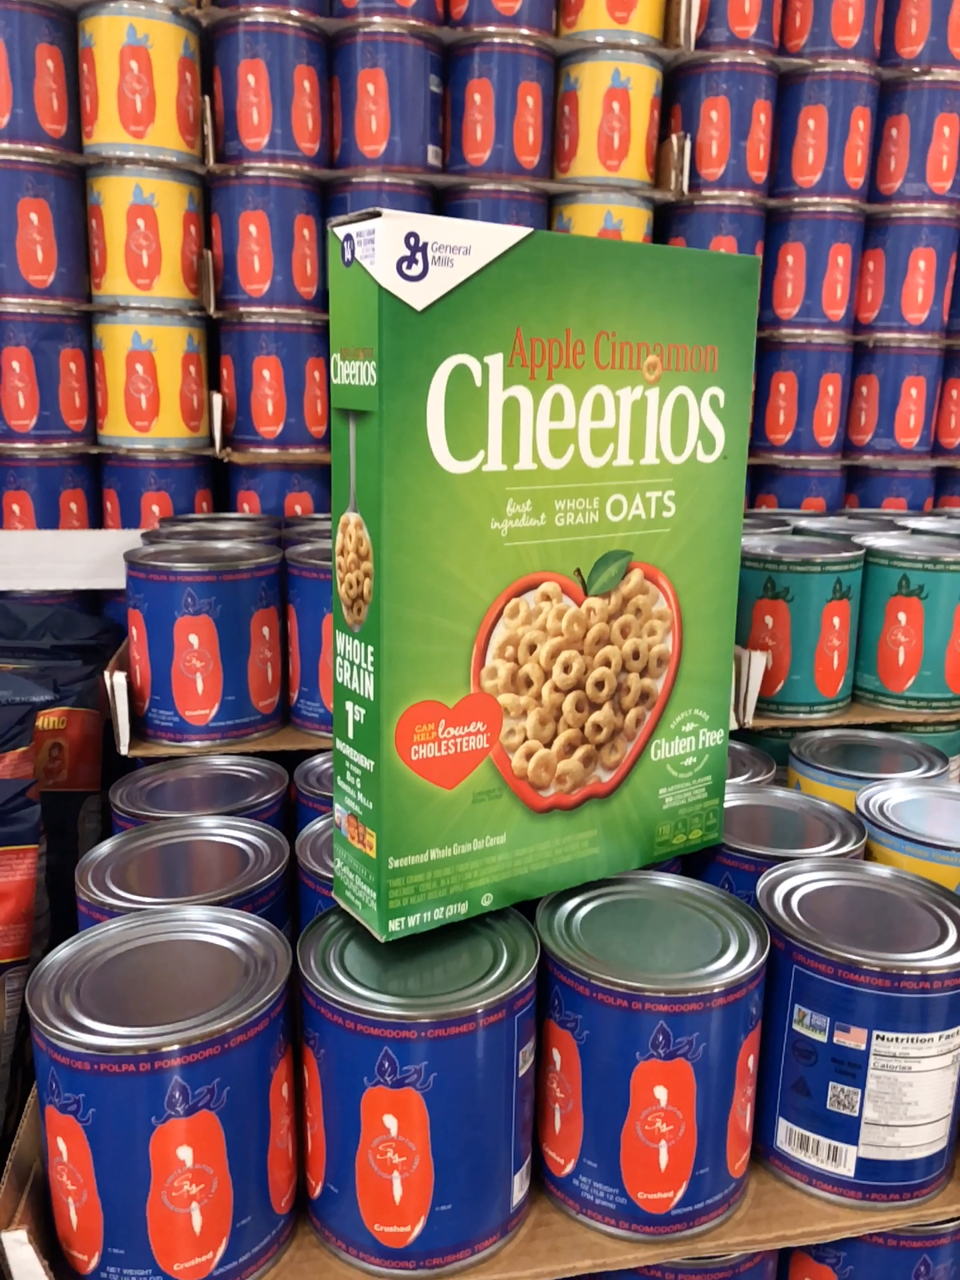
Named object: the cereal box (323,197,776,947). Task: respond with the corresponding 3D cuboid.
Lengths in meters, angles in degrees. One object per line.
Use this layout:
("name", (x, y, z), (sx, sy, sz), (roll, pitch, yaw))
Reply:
("cereal box", (0.033, -0.031, 0.477), (0.200, 0.289, 0.050), (-7, 15, -32))
